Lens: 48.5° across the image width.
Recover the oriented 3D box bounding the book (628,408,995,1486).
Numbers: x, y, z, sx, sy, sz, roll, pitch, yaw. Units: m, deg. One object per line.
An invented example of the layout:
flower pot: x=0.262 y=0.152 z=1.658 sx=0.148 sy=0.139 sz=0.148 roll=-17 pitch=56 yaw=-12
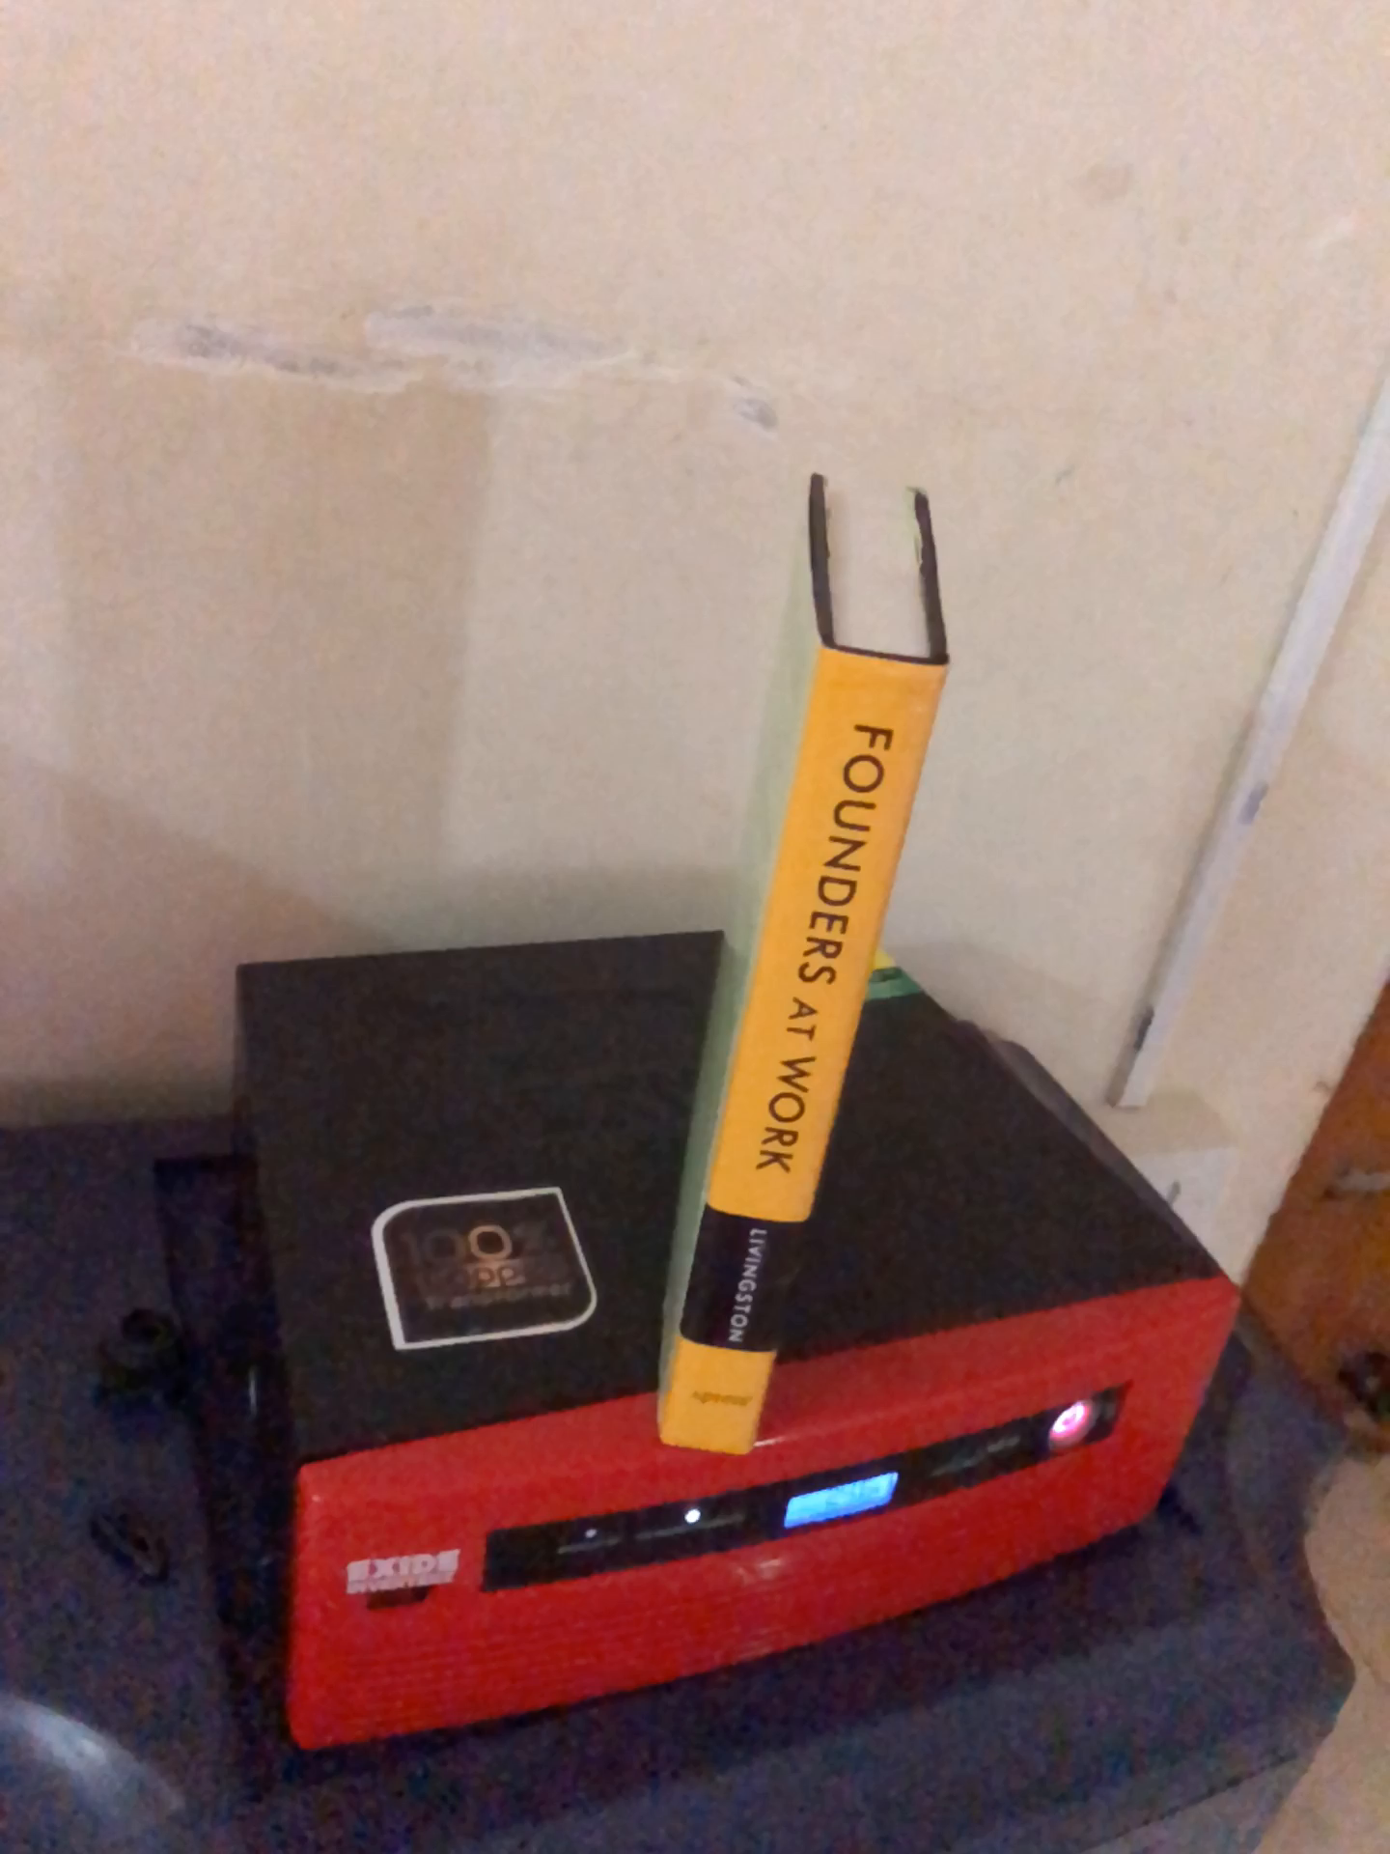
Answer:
book: x=0.030 y=0.001 z=0.443 sx=0.040 sy=0.249 sz=0.181 roll=11 pitch=31 yaw=1
